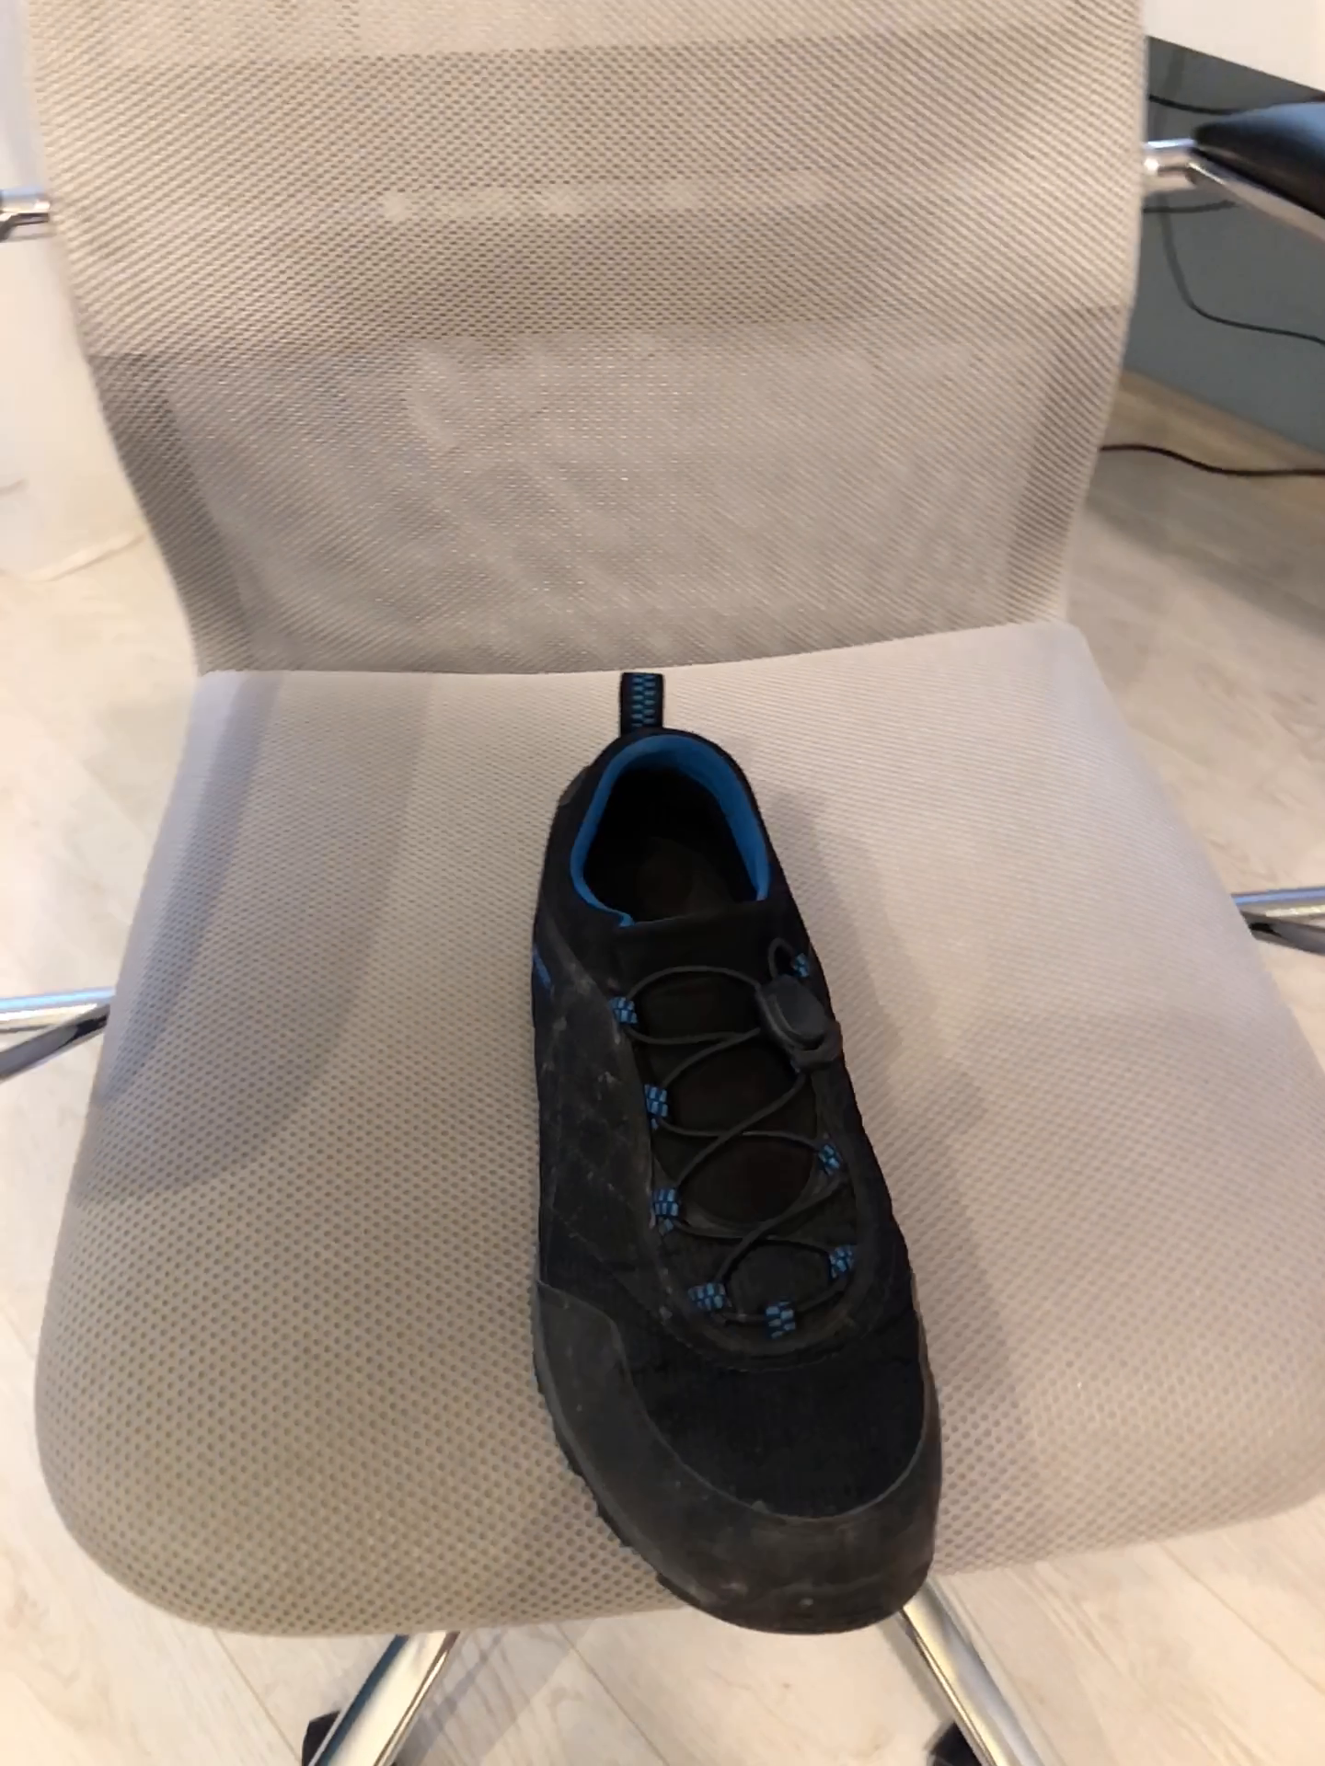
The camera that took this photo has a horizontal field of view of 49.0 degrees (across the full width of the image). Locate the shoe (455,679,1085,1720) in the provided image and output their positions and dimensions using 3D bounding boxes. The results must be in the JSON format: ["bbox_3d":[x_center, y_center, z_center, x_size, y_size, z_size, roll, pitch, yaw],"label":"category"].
[{"bbox_3d":[0.013,0.080,0.474,0.128,0.109,0.302,-7,49,-5],"label":"shoe"}]
